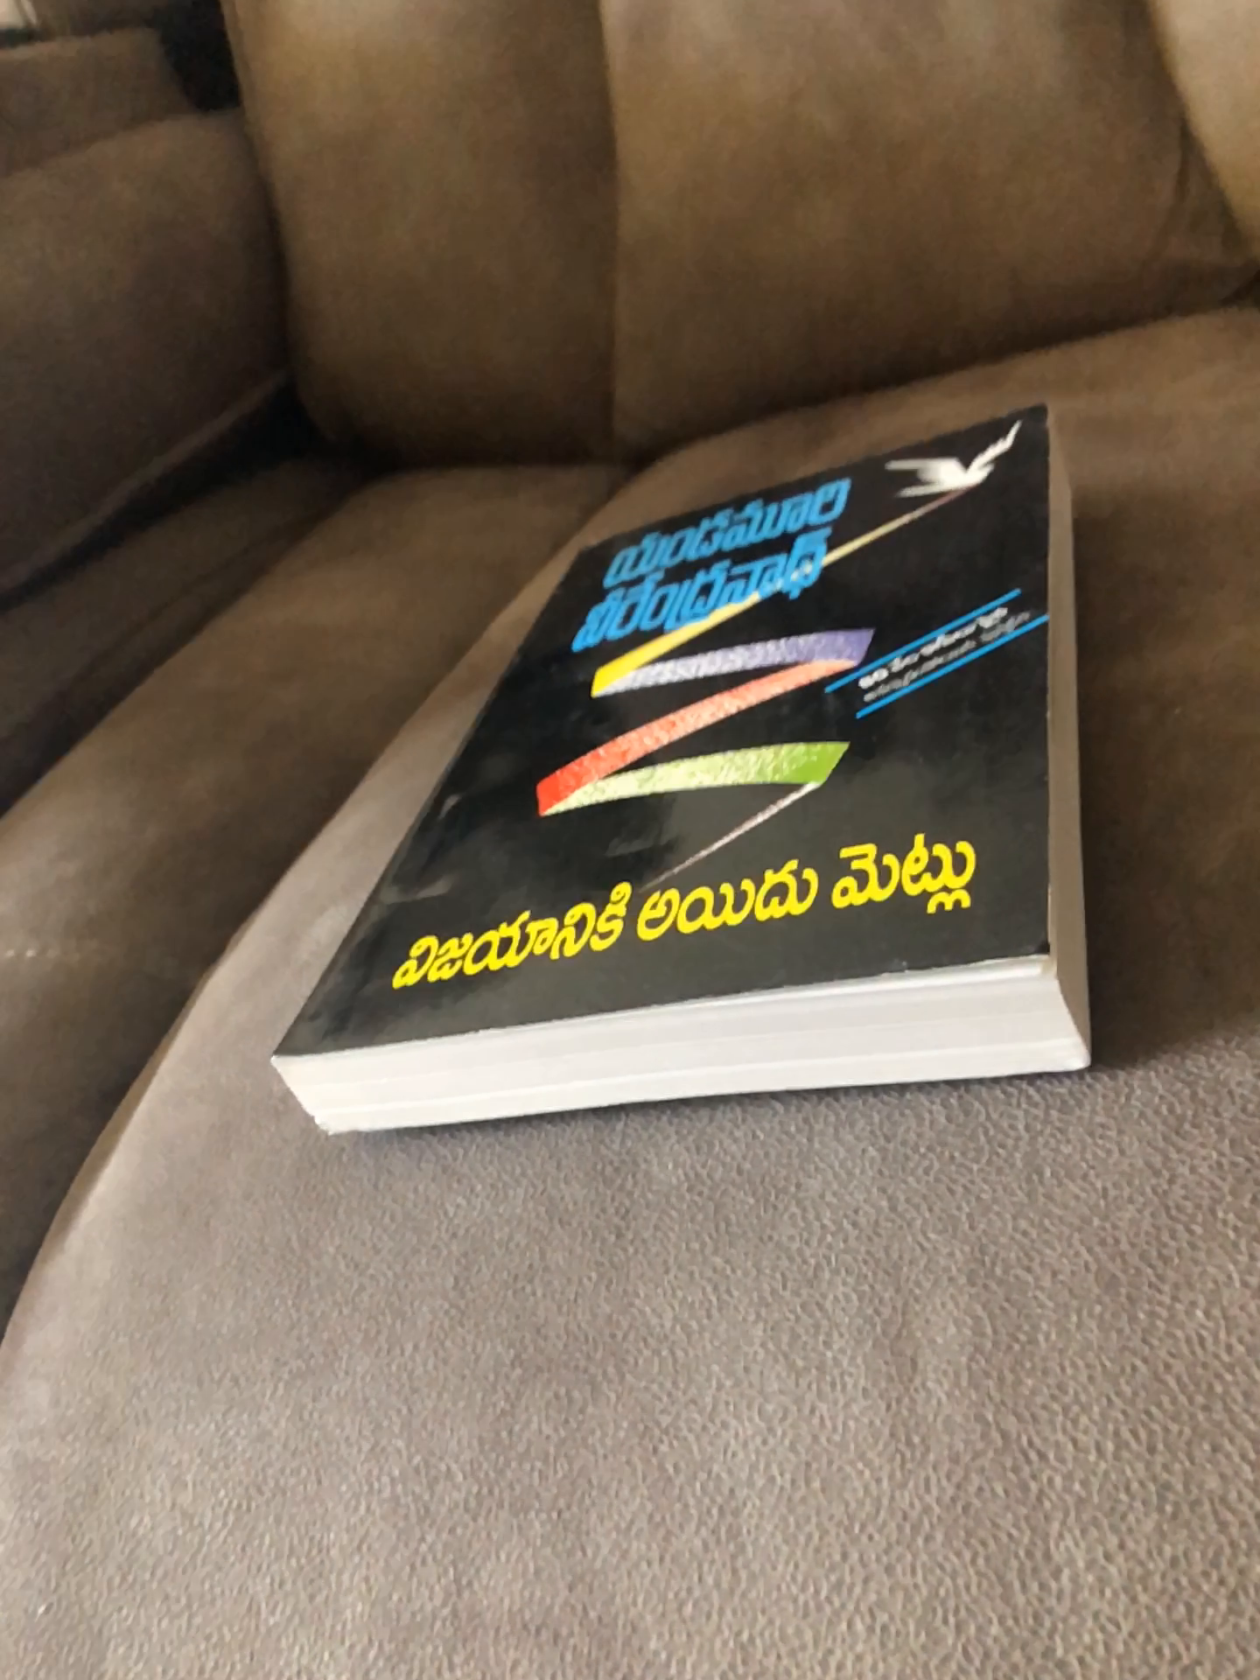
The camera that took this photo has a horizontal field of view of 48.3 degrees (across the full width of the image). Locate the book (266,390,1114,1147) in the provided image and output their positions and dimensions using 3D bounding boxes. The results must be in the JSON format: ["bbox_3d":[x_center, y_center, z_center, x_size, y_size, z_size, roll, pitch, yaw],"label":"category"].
[{"bbox_3d":[0.027,-0.028,0.314,0.144,0.026,0.212,-11,34,24],"label":"book"}]
